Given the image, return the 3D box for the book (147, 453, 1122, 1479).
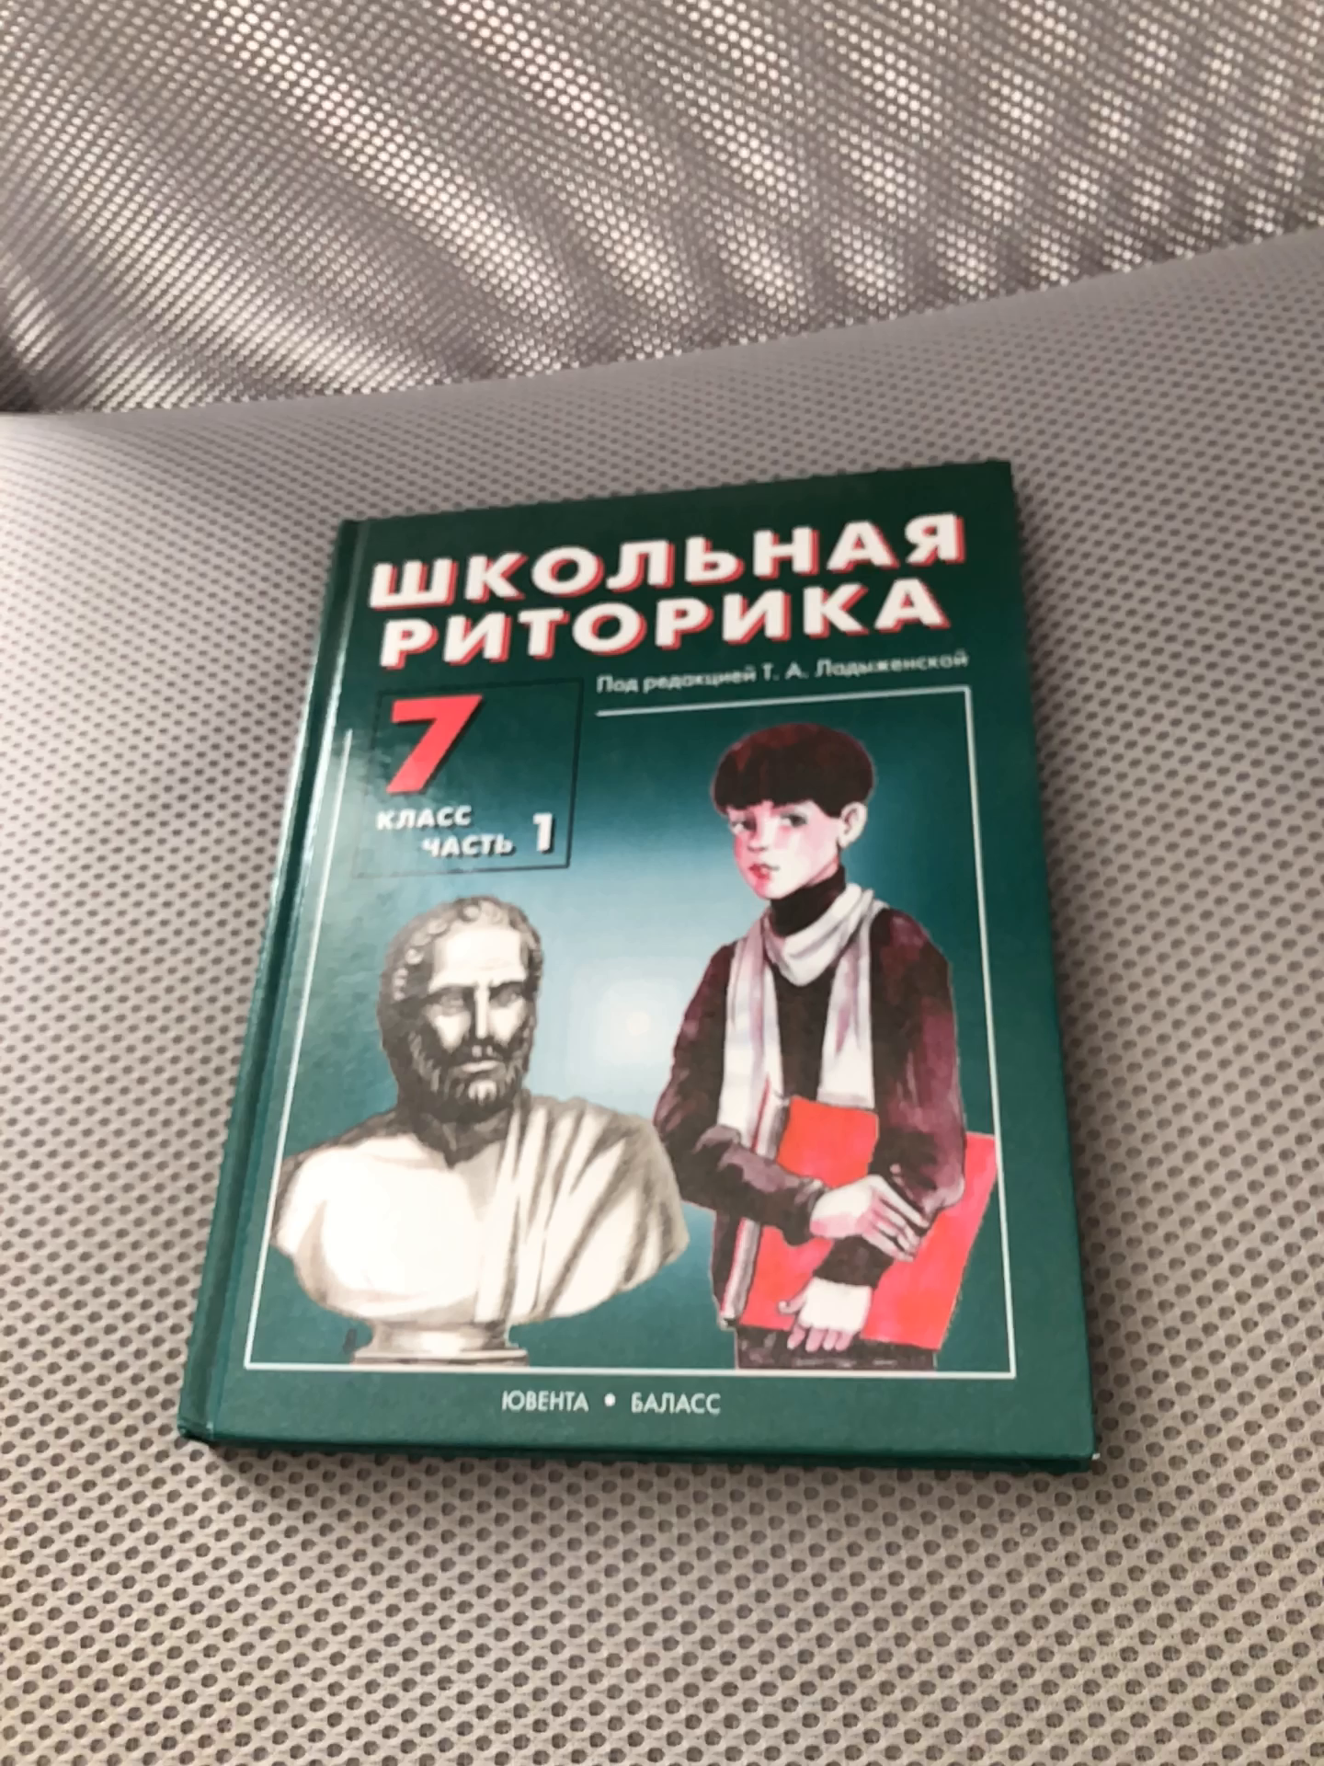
[{"bbox_3d":[-0.003,0.009,0.309,0.167,0.030,0.211,-3,63,10],"label":"book"}]
